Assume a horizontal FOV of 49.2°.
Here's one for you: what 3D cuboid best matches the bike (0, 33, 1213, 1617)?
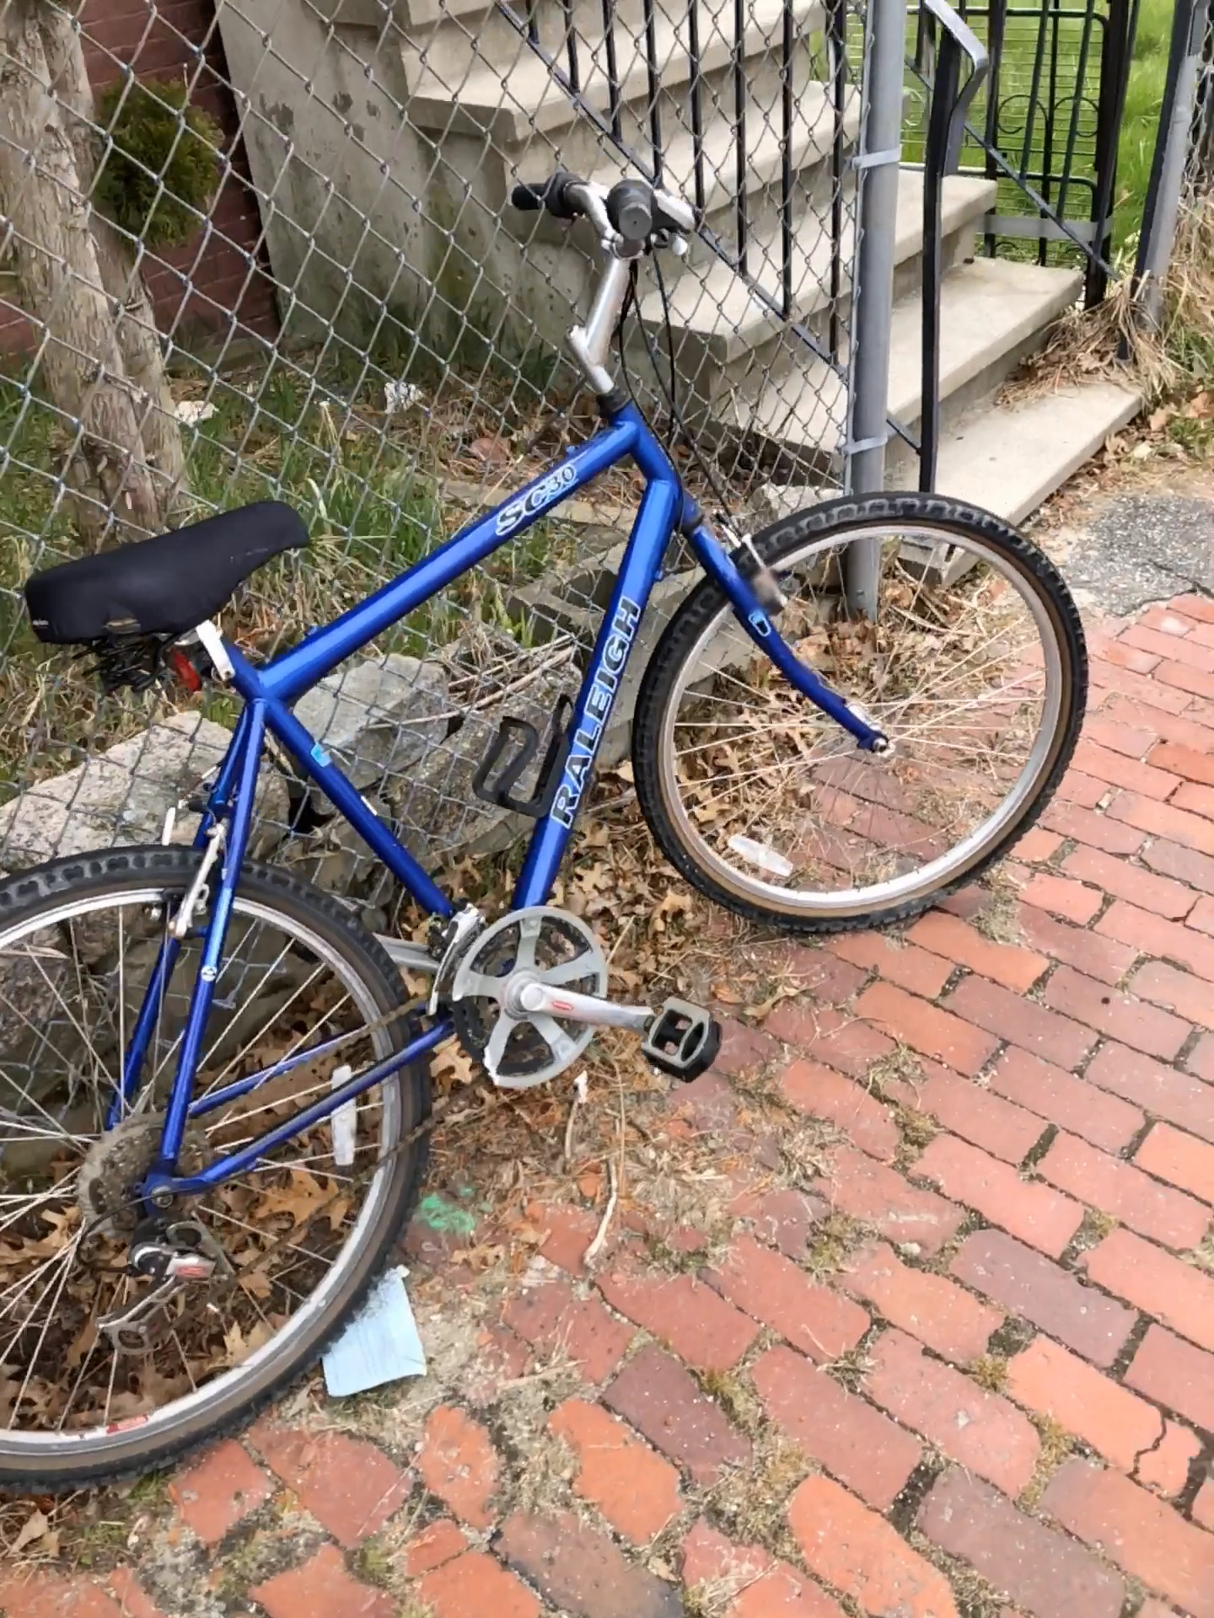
[{"bbox_3d":[-0.170,-0.116,1.491,1.669,1.023,0.682,-28,40,-24],"label":"bike"}]
